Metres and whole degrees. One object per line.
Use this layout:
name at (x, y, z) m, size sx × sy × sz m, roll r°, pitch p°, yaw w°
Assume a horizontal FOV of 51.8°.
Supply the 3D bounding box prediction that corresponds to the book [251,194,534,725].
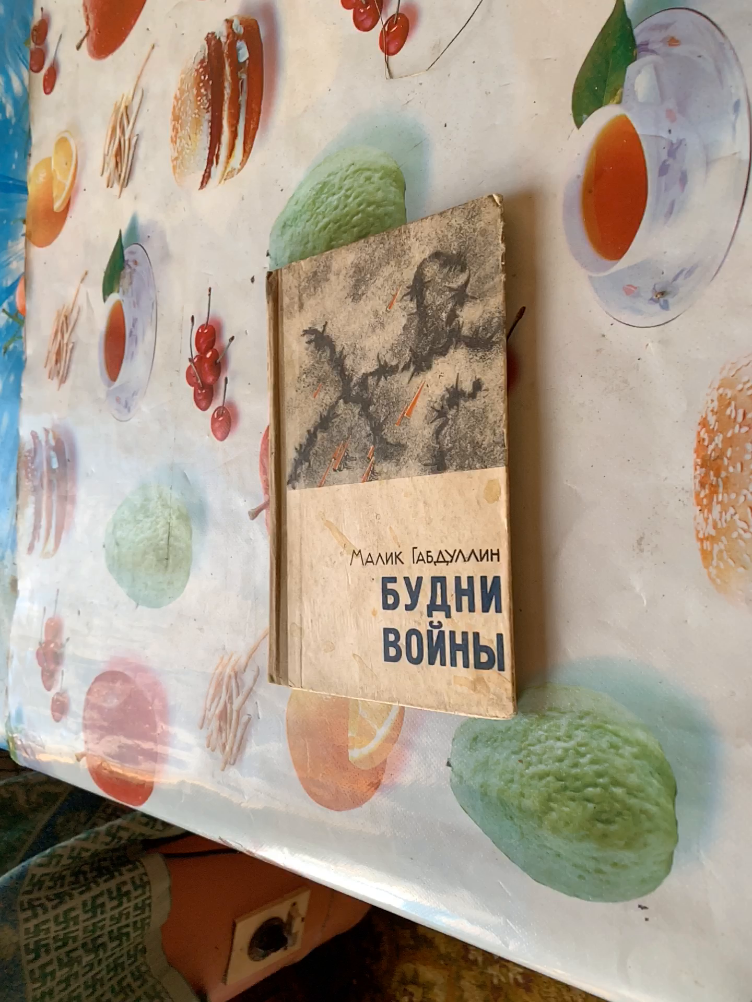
book at (-0.001, -0.014, 0.334) m, size 0.137 × 0.018 × 0.196 m, roll -4°, pitch 85°, yaw 39°
